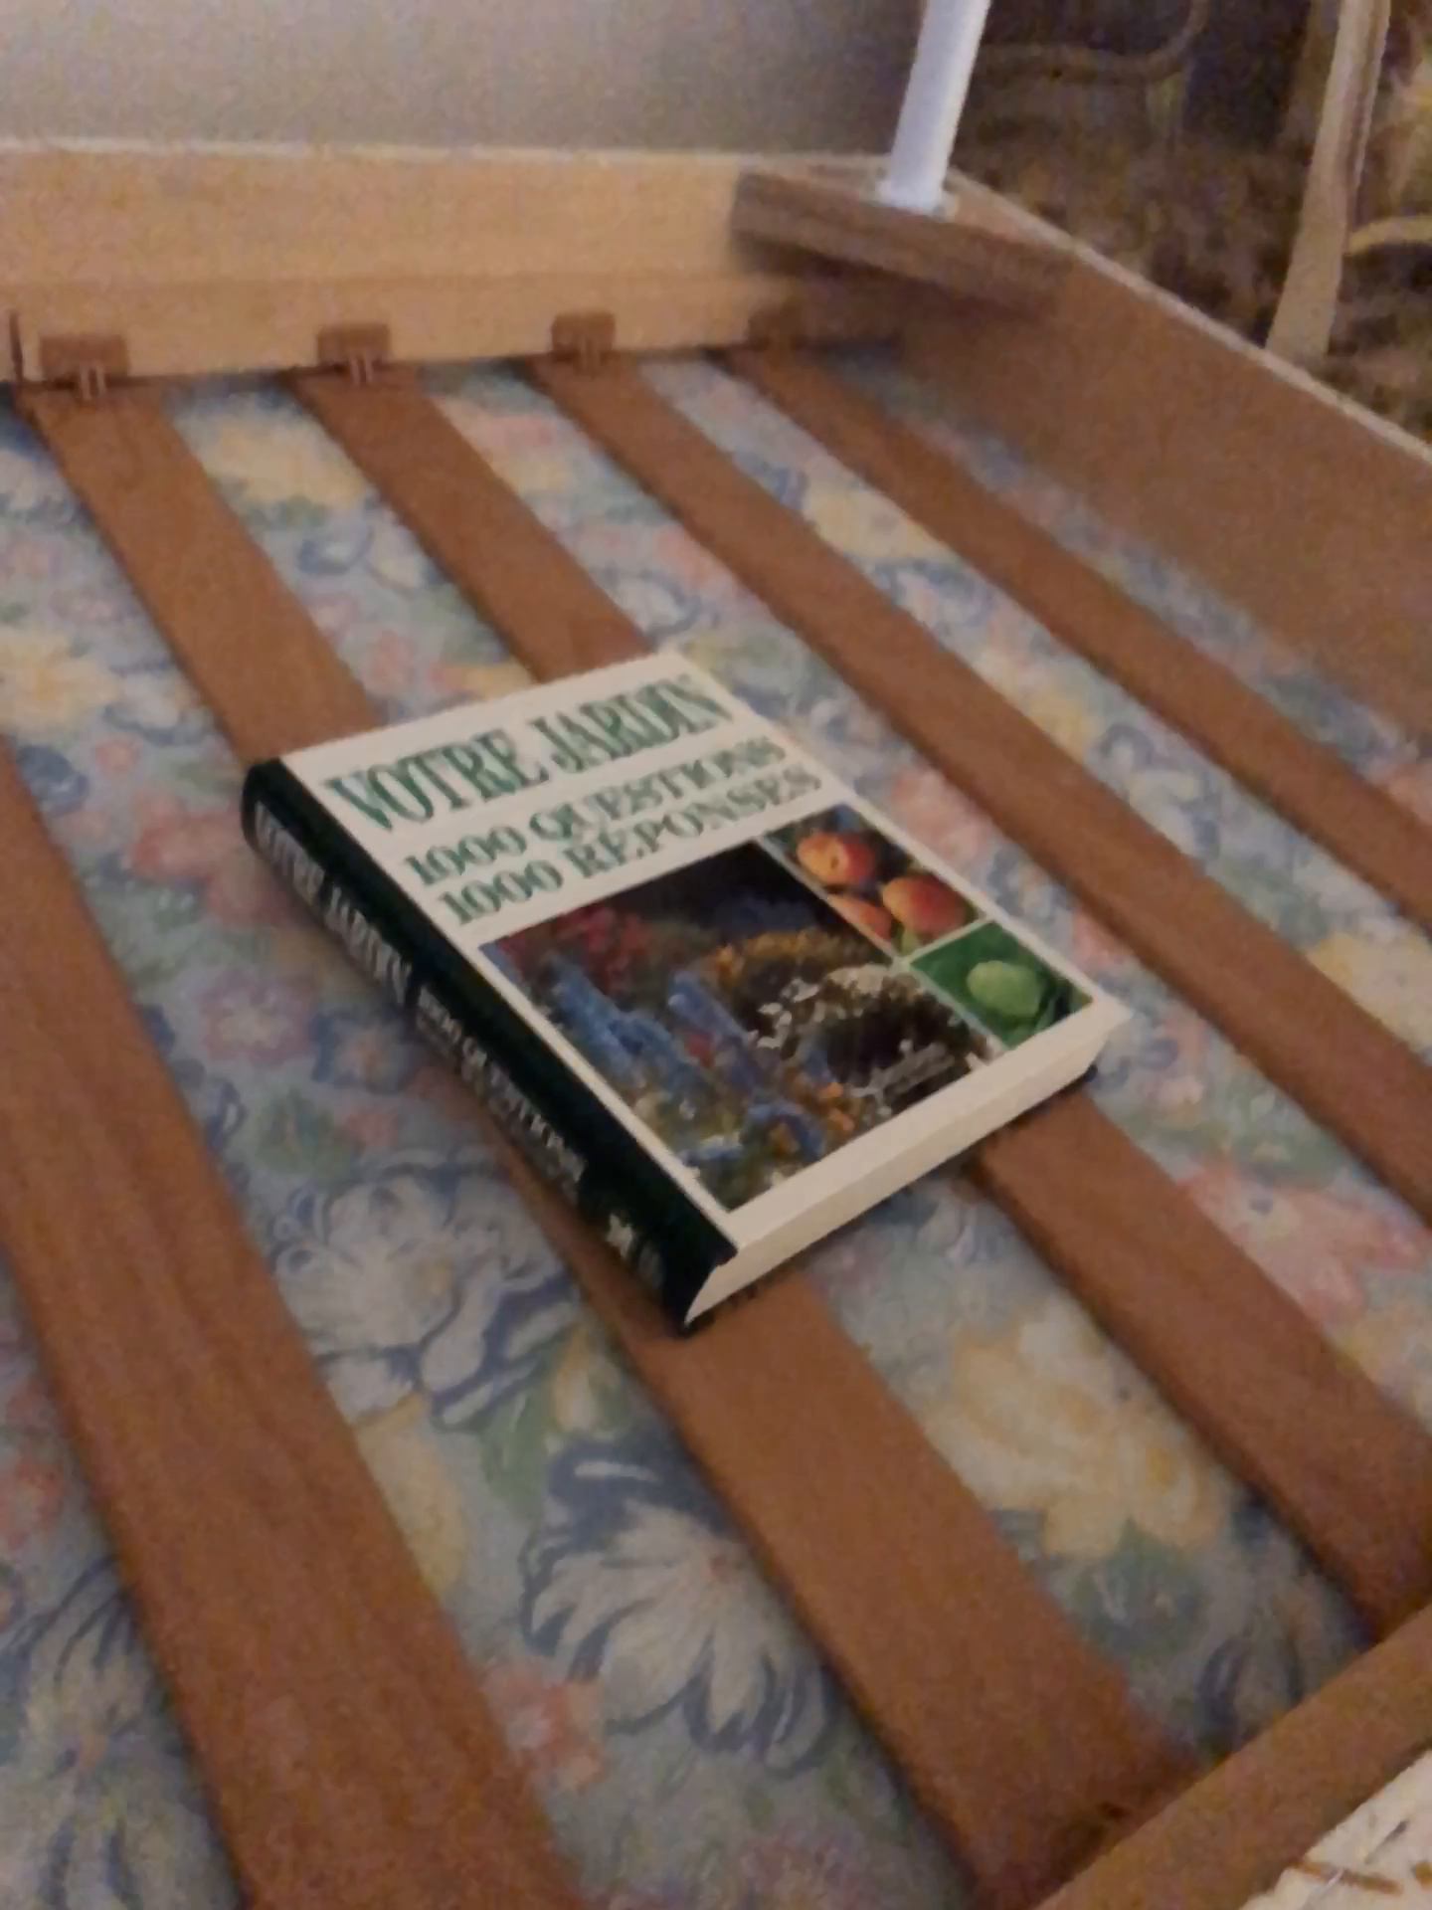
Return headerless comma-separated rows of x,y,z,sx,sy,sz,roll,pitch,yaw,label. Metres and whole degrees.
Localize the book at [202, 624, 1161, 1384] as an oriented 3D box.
-0.017,-0.010,0.573,0.221,0.050,0.270,-24,52,-35,book
